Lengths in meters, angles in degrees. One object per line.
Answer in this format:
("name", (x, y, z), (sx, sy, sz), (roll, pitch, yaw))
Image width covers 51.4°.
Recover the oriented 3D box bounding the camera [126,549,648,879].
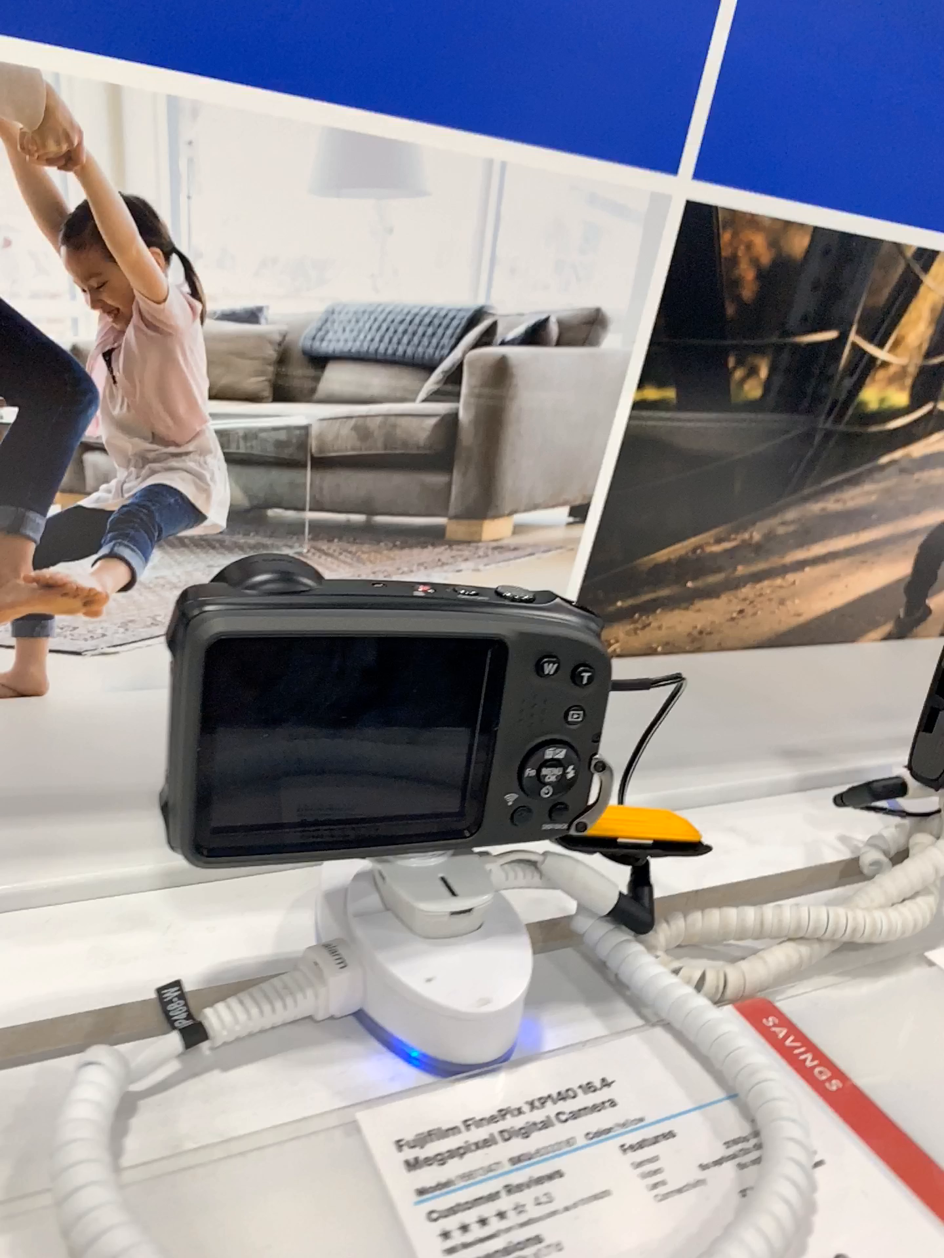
("camera", (-0.021, 0.020, 0.237), (0.110, 0.060, 0.040), (3, 18, -26))
